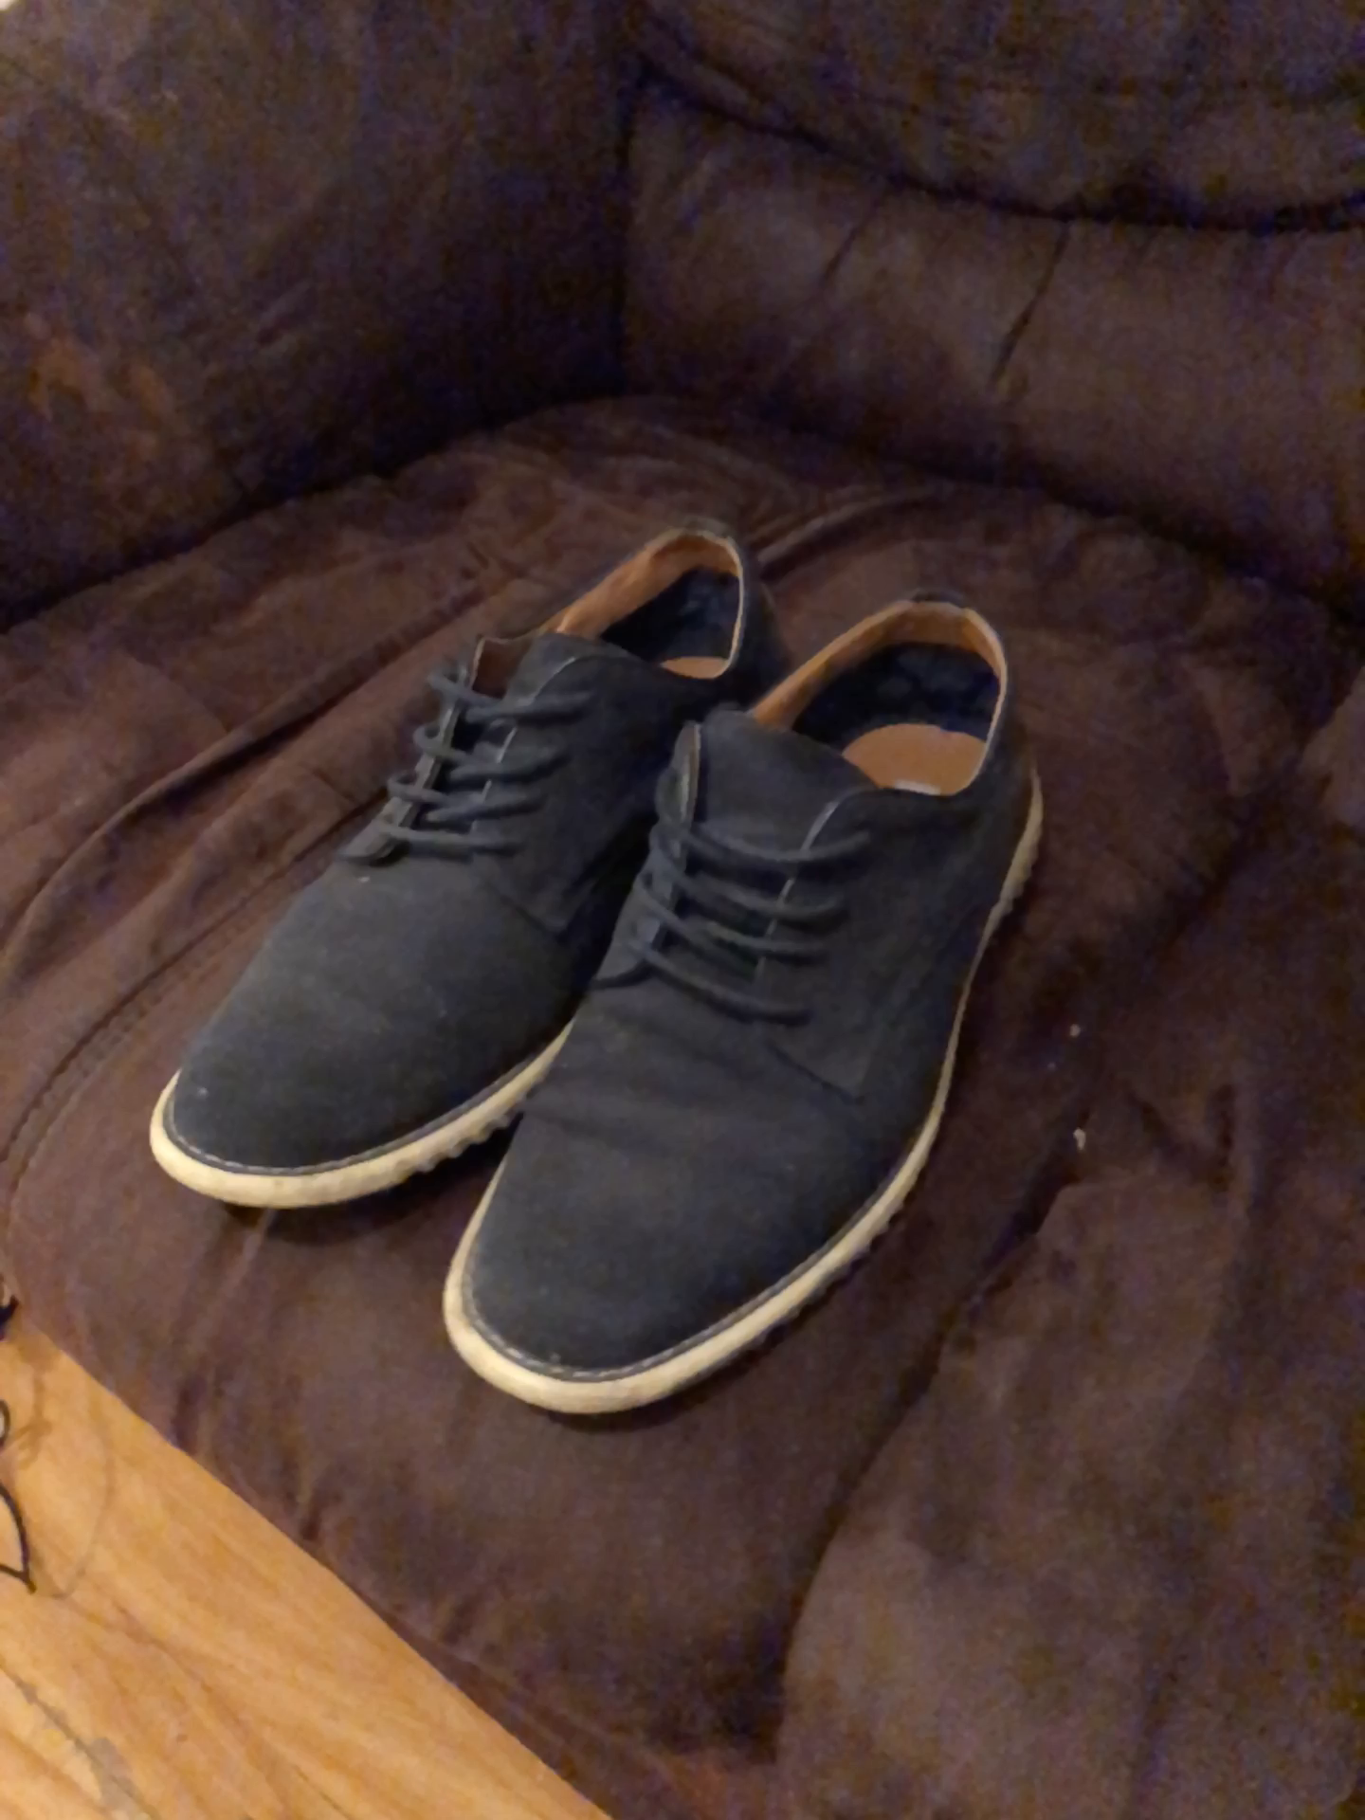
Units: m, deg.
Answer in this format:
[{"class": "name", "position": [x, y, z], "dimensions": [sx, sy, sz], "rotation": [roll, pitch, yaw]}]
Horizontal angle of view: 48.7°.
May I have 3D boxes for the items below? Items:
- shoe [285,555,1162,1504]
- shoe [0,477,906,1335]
[{"class": "shoe", "position": [0.033, 0.007, 0.449], "dimensions": [0.120, 0.079, 0.292], "rotation": [20, 46, 23]}, {"class": "shoe", "position": [-0.051, -0.025, 0.494], "dimensions": [0.120, 0.099, 0.292], "rotation": [22, 47, 26]}]
